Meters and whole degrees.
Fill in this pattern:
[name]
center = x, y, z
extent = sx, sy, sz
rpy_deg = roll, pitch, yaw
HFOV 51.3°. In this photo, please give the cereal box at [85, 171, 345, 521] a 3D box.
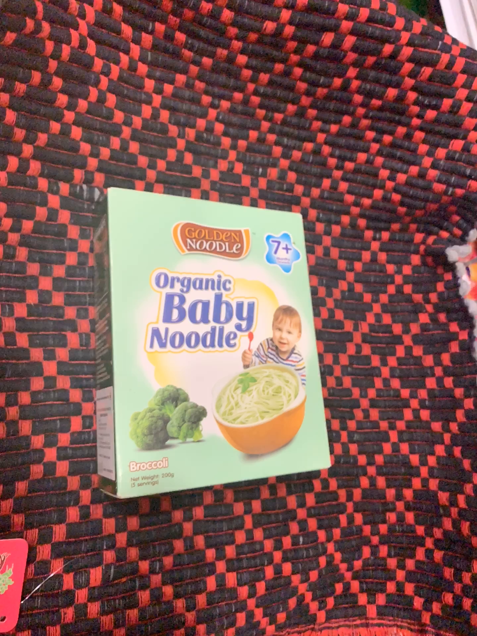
[cereal box]
center = -0.017, 0.015, 0.295
extent = 0.130, 0.060, 0.170
rpy_deg = 1, 78, -28
